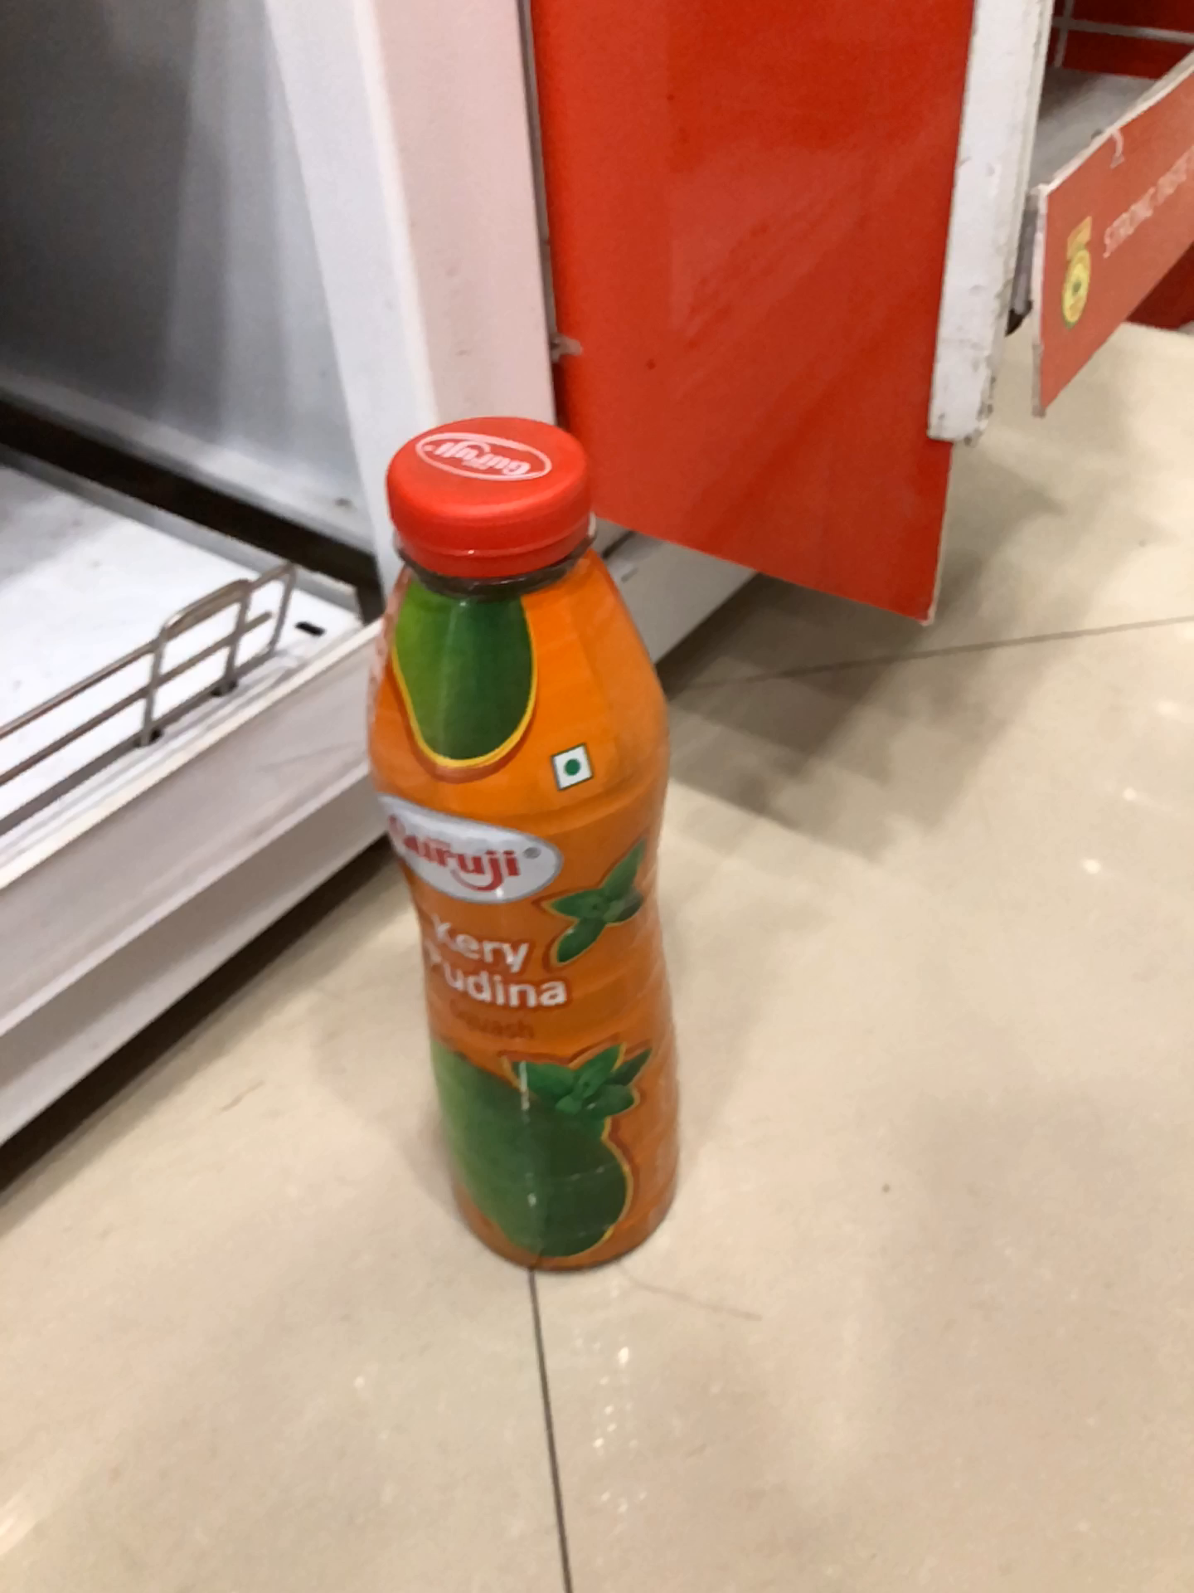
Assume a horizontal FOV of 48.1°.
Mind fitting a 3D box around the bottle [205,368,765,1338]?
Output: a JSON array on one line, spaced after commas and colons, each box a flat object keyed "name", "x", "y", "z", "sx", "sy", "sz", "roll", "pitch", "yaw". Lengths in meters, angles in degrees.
[{"name": "bottle", "x": -0.011, "y": 0.028, "z": 0.335, "sx": 0.080, "sy": 0.238, "sz": 0.081, "roll": -3, "pitch": 42, "yaw": 2}]
